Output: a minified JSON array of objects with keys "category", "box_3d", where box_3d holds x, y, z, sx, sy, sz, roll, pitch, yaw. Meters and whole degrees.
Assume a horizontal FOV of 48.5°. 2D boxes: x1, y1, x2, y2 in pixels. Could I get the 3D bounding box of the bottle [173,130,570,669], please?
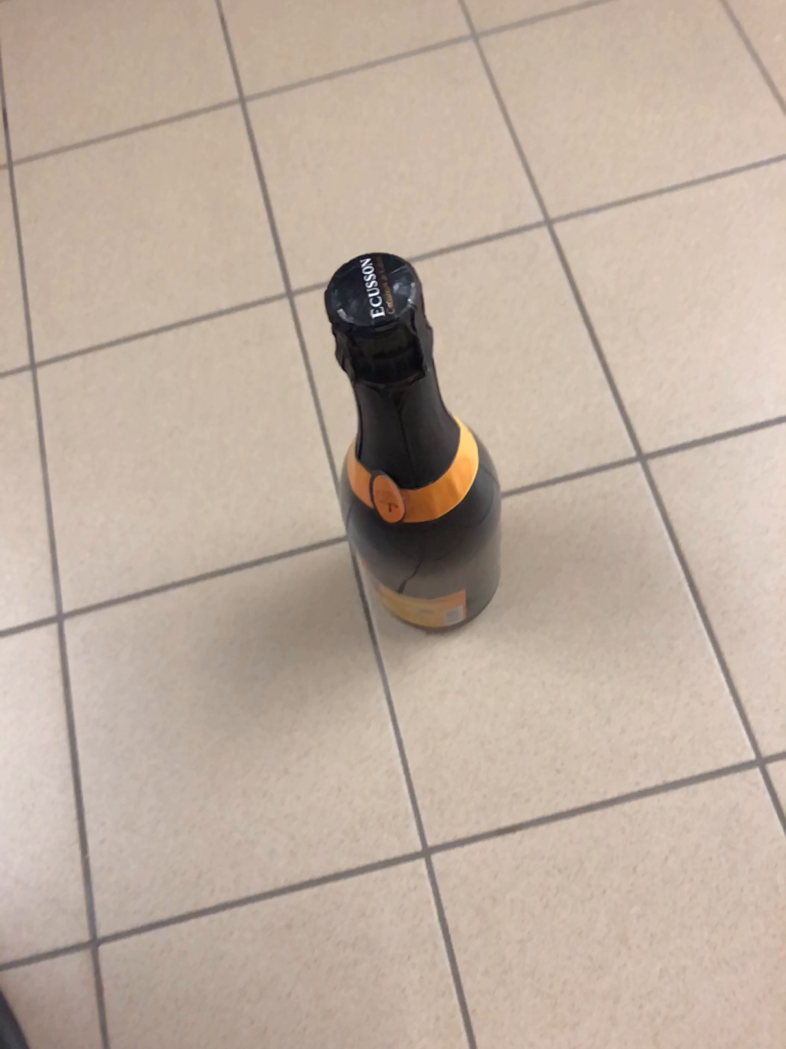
[{"category":"bottle","box_3d":[0.009,-0.024,0.415,0.090,0.299,0.090,-2,69,6]}]
